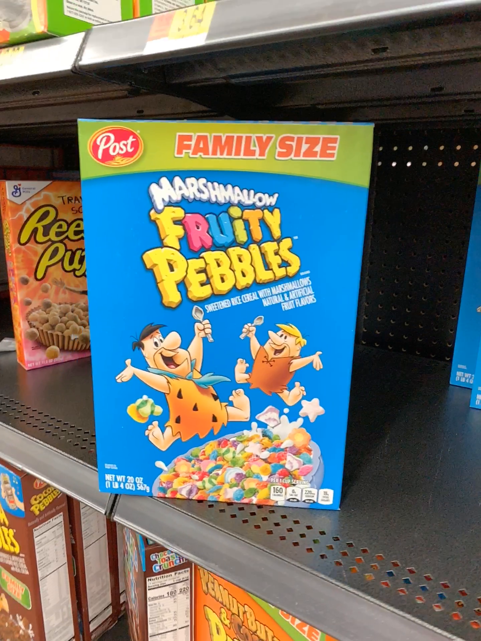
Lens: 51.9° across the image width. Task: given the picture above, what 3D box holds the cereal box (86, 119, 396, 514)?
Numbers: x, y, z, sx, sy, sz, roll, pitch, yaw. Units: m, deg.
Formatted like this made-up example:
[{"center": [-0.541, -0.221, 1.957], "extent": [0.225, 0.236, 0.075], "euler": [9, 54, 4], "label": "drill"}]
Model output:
[{"center": [-0.004, 0.002, 0.444], "extent": [0.230, 0.329, 0.070], "euler": [3, 16, 4], "label": "cereal box"}]
